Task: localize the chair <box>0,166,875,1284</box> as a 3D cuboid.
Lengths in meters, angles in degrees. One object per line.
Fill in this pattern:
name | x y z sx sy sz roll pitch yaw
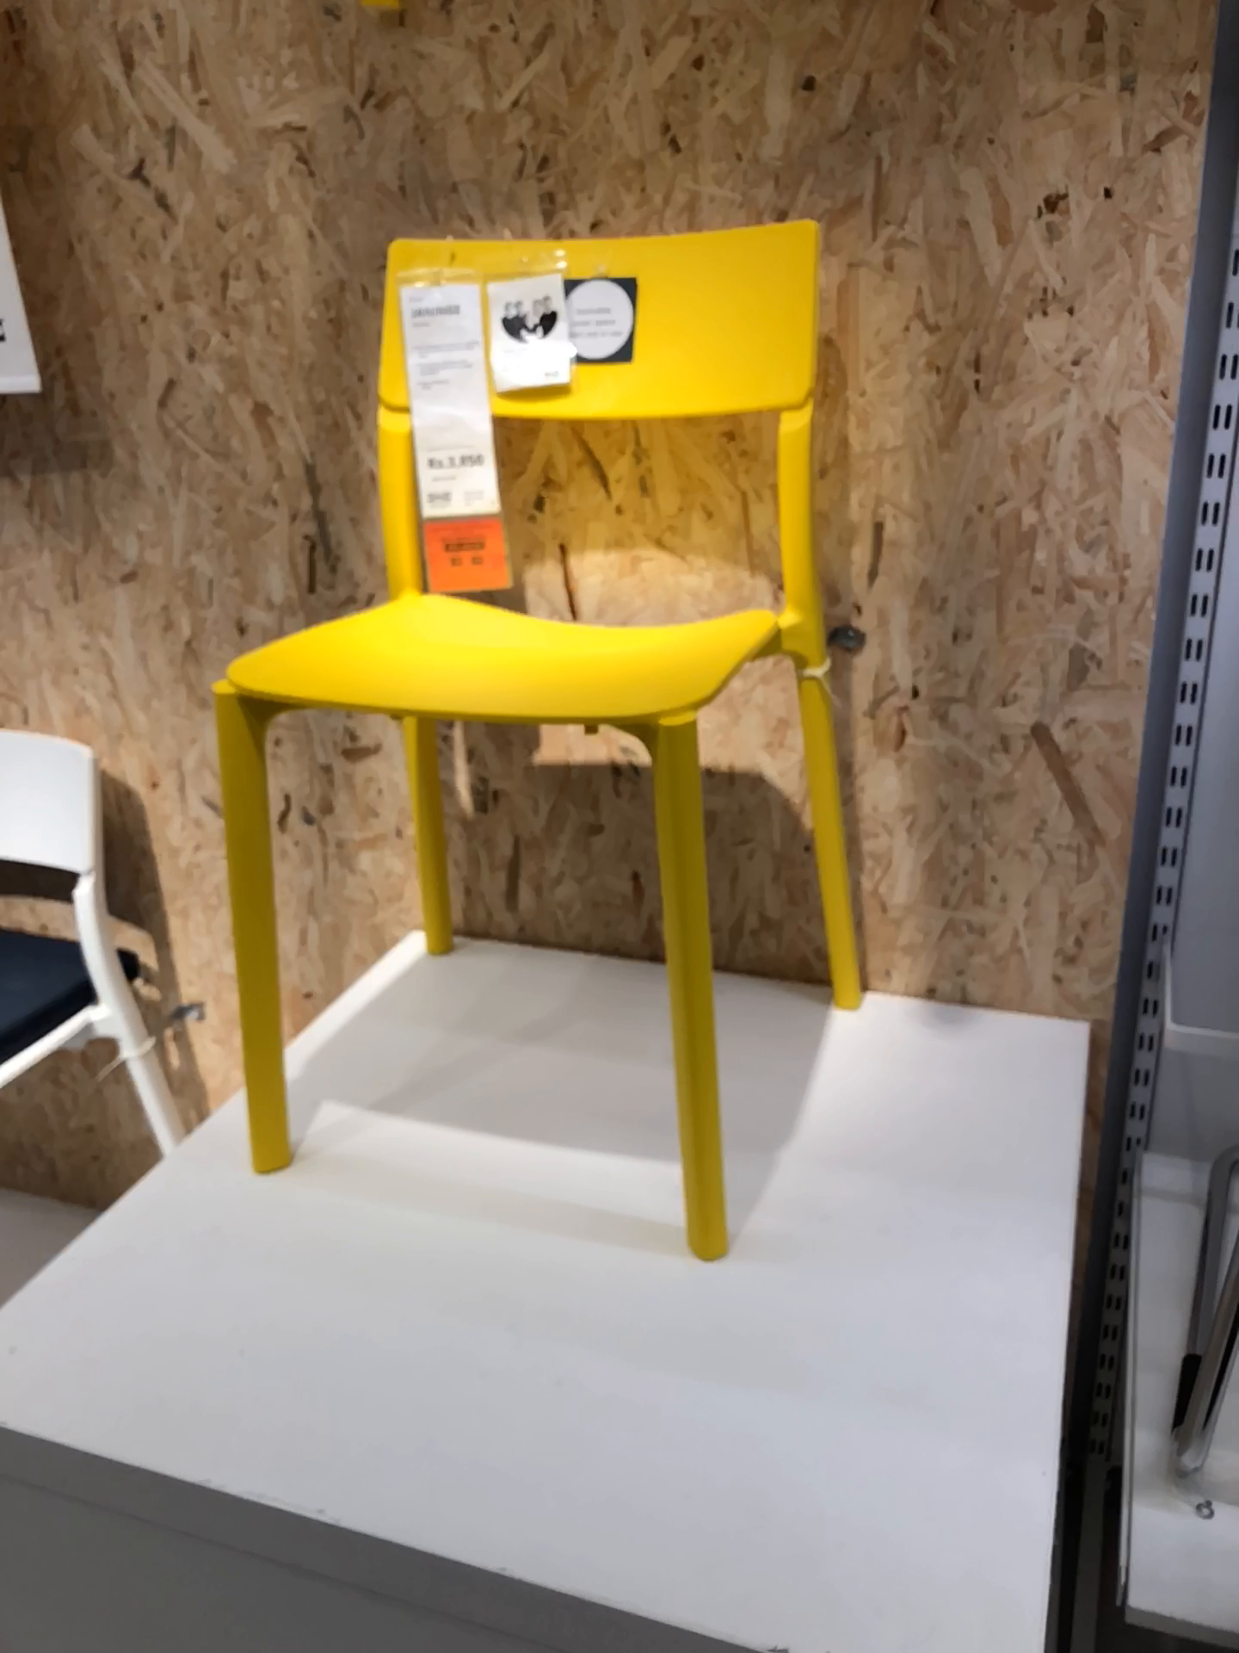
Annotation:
chair | -0.076 -0.113 1.075 0.460 0.676 0.462 5 22 18
